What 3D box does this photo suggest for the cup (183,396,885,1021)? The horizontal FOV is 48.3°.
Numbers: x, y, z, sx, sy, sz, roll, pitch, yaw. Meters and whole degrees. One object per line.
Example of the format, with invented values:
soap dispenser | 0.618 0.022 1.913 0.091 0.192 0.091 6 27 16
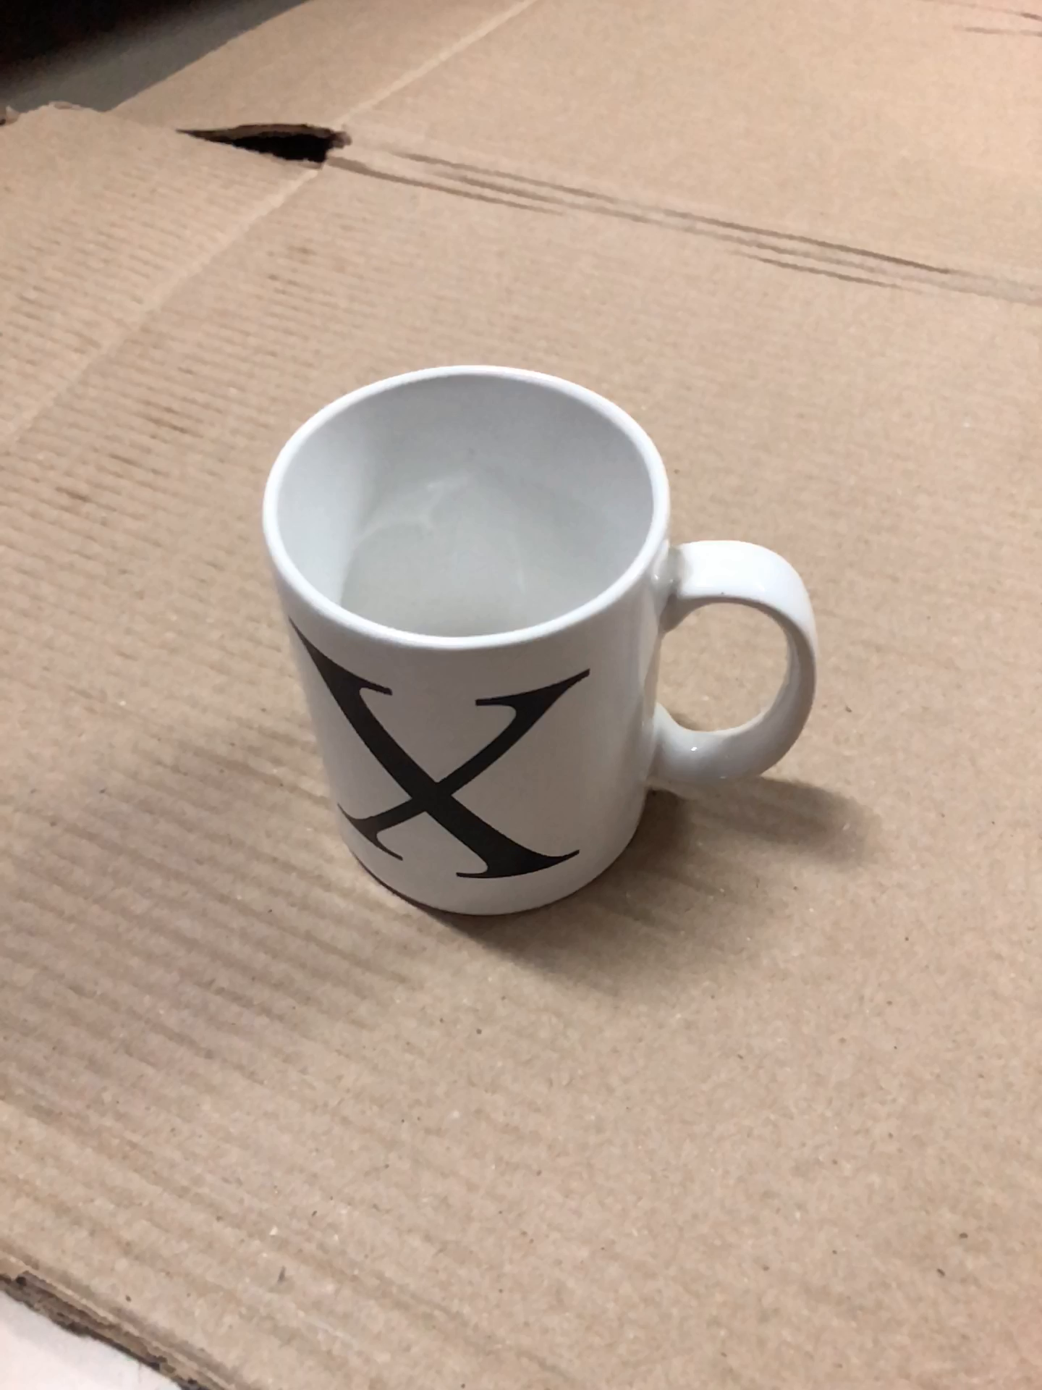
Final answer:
cup | 0.006 0.003 0.241 0.110 0.089 0.080 5 46 6
